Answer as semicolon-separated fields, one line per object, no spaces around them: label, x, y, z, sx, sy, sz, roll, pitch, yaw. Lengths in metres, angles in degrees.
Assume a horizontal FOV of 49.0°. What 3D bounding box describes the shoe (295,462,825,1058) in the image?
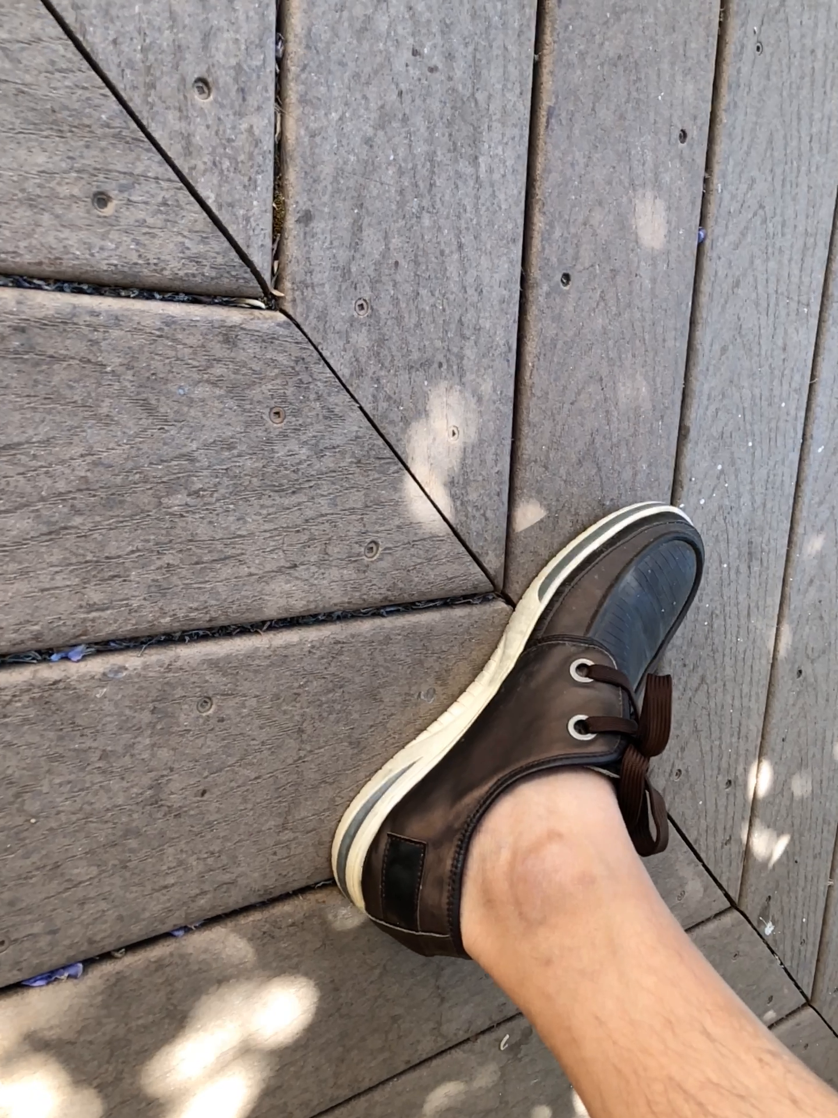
shoe;0.087;0.087;0.488;0.289;0.096;0.107;-47;124;-20
